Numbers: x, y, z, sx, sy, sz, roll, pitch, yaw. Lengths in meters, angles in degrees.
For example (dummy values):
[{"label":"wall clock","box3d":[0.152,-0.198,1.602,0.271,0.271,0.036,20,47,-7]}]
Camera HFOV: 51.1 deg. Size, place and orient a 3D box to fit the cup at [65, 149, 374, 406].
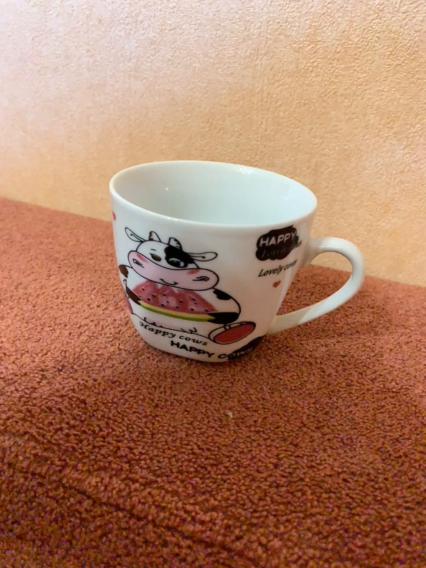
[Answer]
[{"label":"cup","box3d":[0.006,-0.012,0.183,0.094,0.056,0.079,15,32,19]}]
